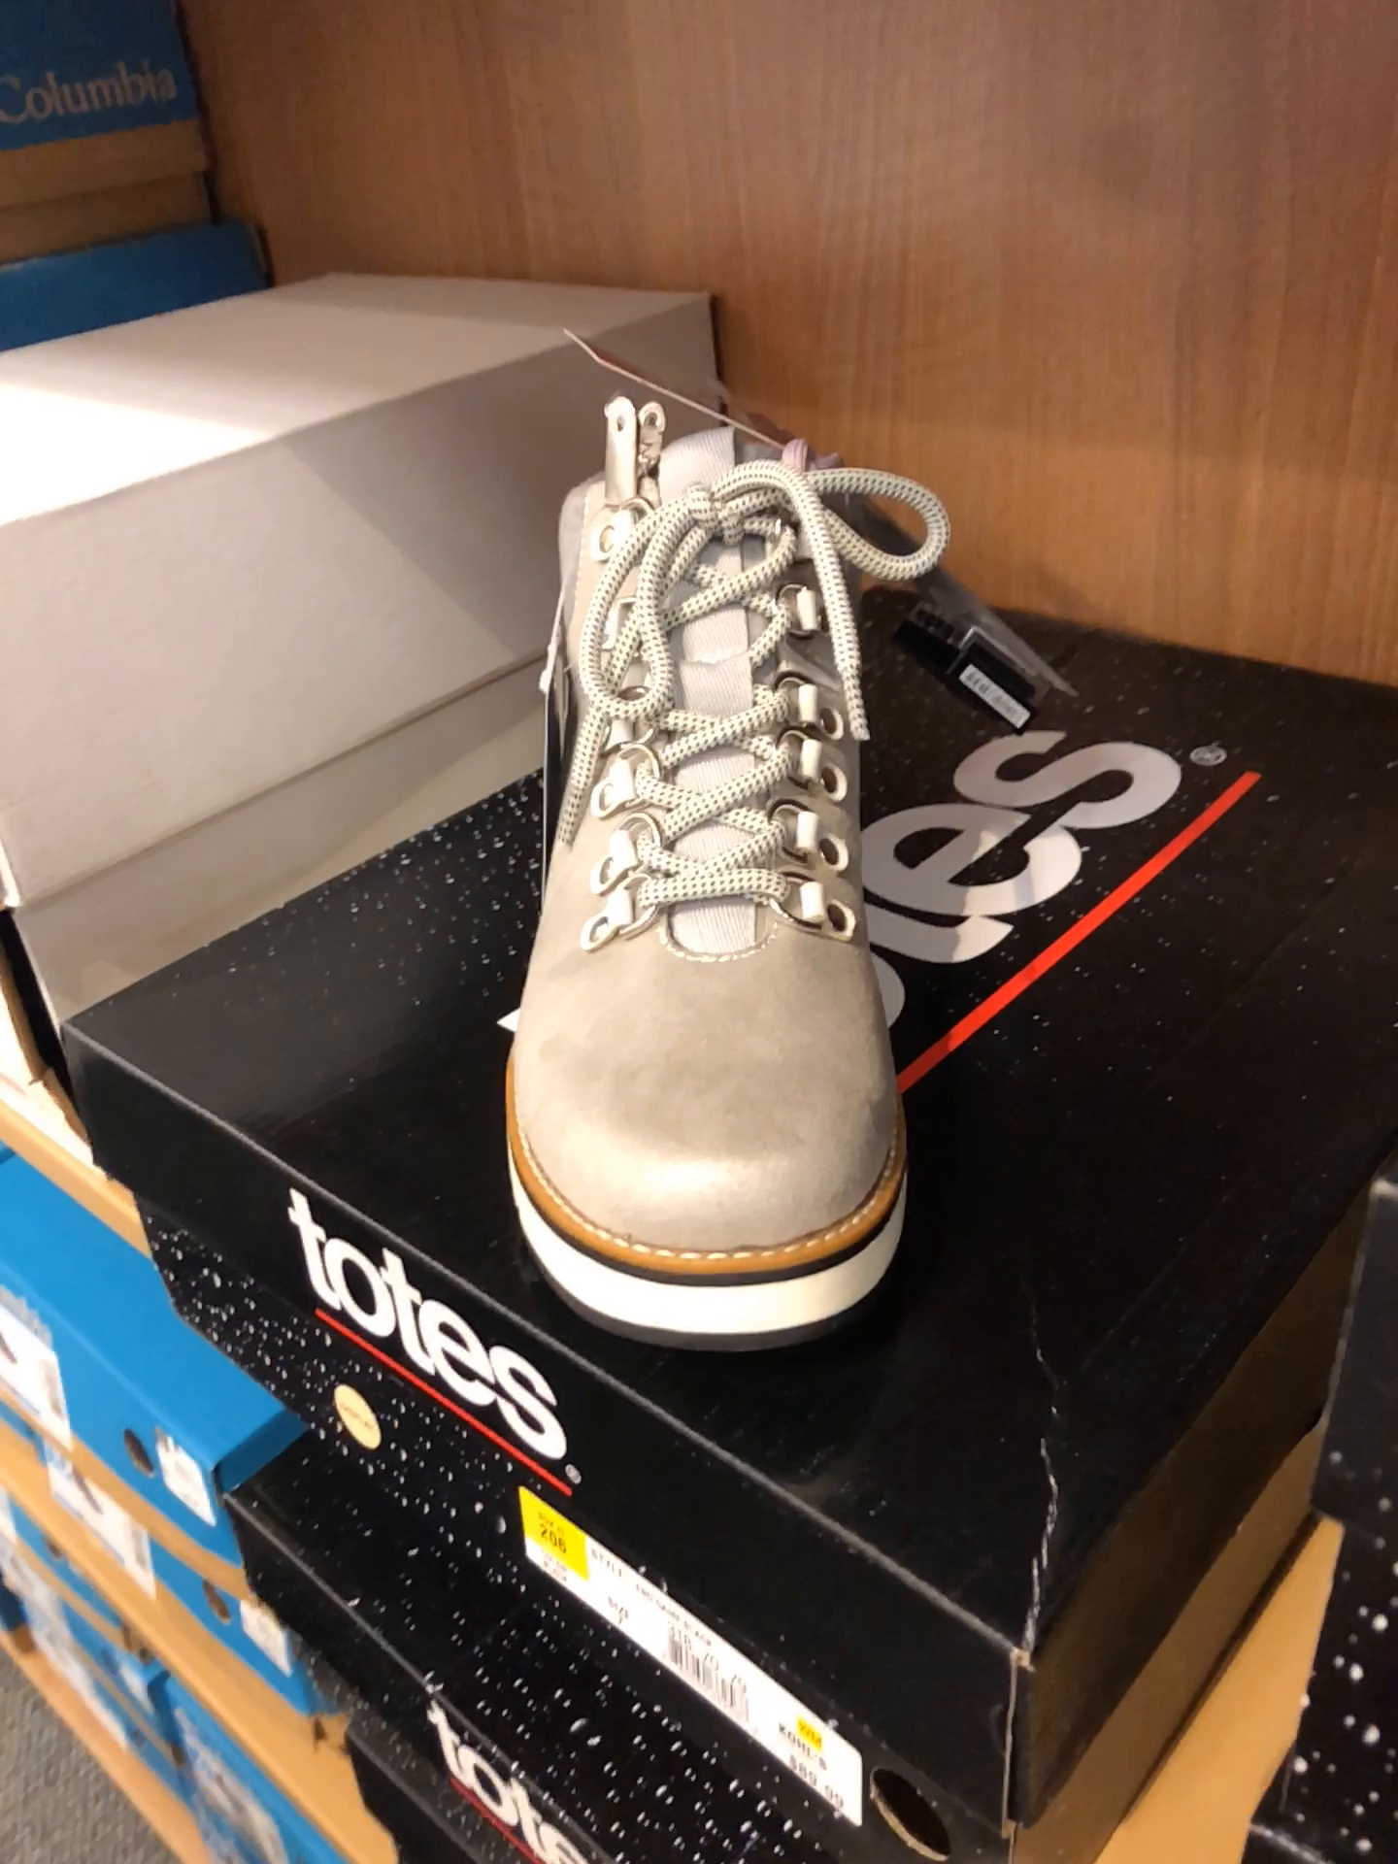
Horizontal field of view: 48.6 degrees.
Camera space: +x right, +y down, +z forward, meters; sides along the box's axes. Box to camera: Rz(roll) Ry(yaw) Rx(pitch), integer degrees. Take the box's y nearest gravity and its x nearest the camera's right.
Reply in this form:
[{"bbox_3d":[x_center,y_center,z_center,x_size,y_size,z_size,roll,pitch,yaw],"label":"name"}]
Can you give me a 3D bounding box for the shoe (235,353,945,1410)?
[{"bbox_3d":[-0.009,-0.032,0.347,0.099,0.134,0.229,-4,32,3],"label":"shoe"}]
